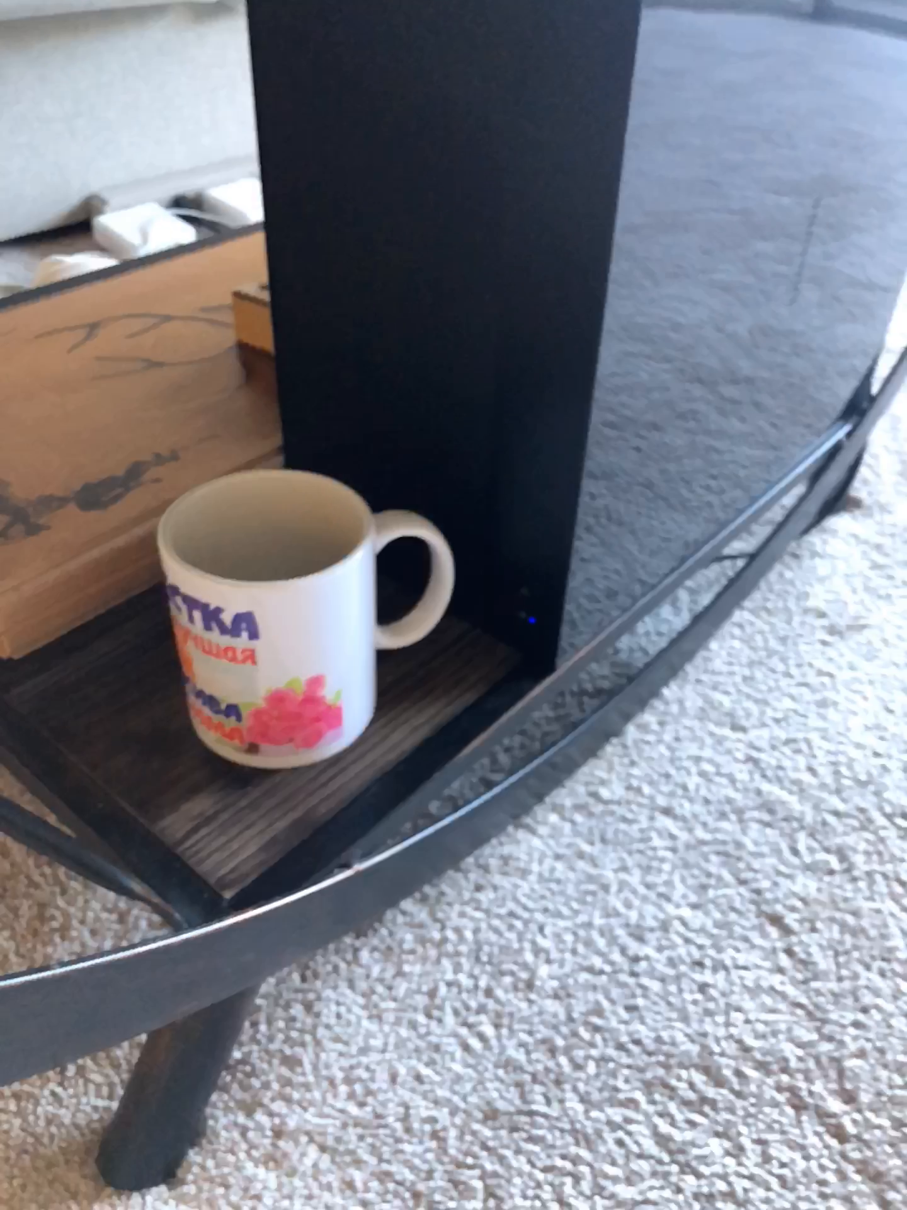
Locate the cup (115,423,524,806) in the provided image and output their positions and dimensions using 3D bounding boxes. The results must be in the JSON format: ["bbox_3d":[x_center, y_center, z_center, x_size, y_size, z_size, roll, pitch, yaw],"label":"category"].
[{"bbox_3d":[-0.057,-0.001,0.438,0.140,0.100,0.090,-15,42,-22],"label":"cup"}]
